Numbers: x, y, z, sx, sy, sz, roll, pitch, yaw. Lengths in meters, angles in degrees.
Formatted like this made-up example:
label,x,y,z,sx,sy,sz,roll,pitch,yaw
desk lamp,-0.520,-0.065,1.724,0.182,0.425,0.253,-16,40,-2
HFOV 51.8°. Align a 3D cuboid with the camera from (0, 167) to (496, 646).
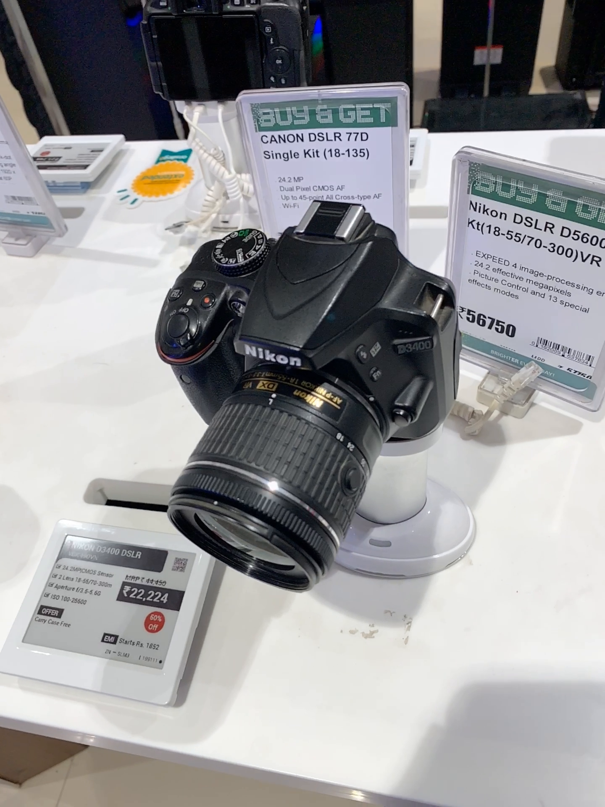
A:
label,x,y,z,sx,sy,sz,roll,pitch,yaw
camera,-0.011,-0.008,0.218,0.120,0.080,0.120,14,55,21
